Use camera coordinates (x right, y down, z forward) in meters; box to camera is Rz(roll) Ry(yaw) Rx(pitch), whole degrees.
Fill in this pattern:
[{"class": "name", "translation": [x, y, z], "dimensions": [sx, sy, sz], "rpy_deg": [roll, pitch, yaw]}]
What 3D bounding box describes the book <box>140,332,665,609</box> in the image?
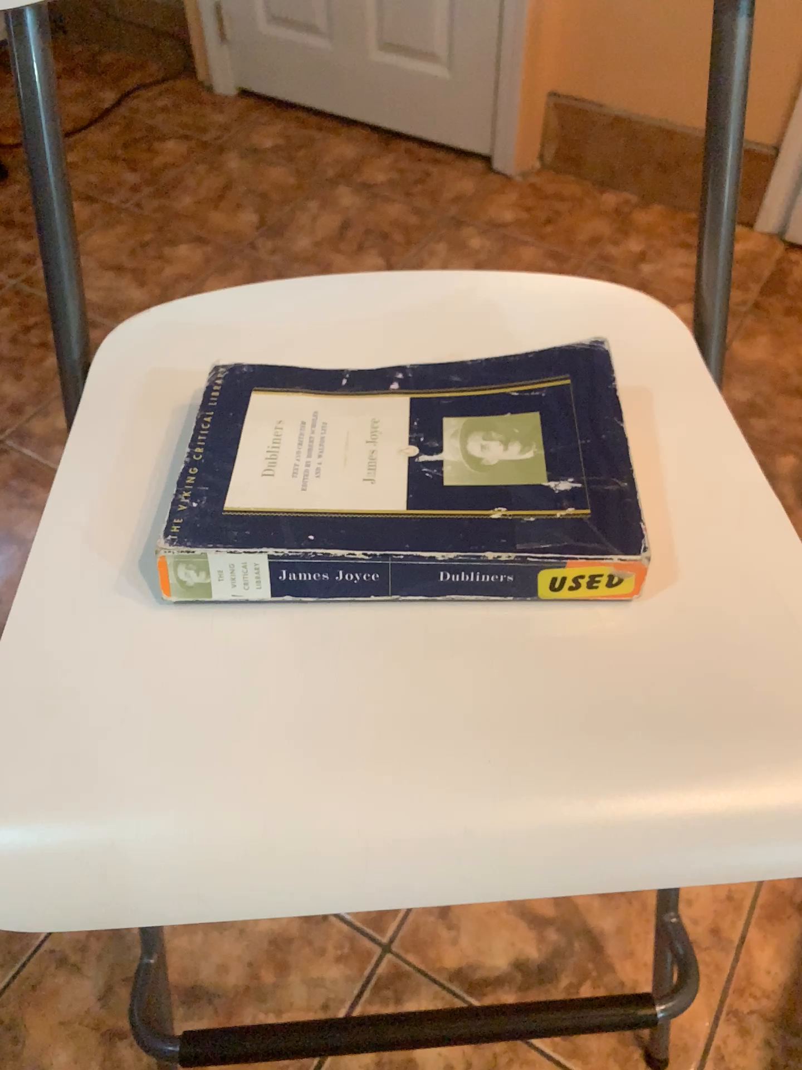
[{"class": "book", "translation": [0.000, -0.033, 0.366], "dimensions": [0.197, 0.035, 0.132], "rpy_deg": [-1, 51, 0]}]
